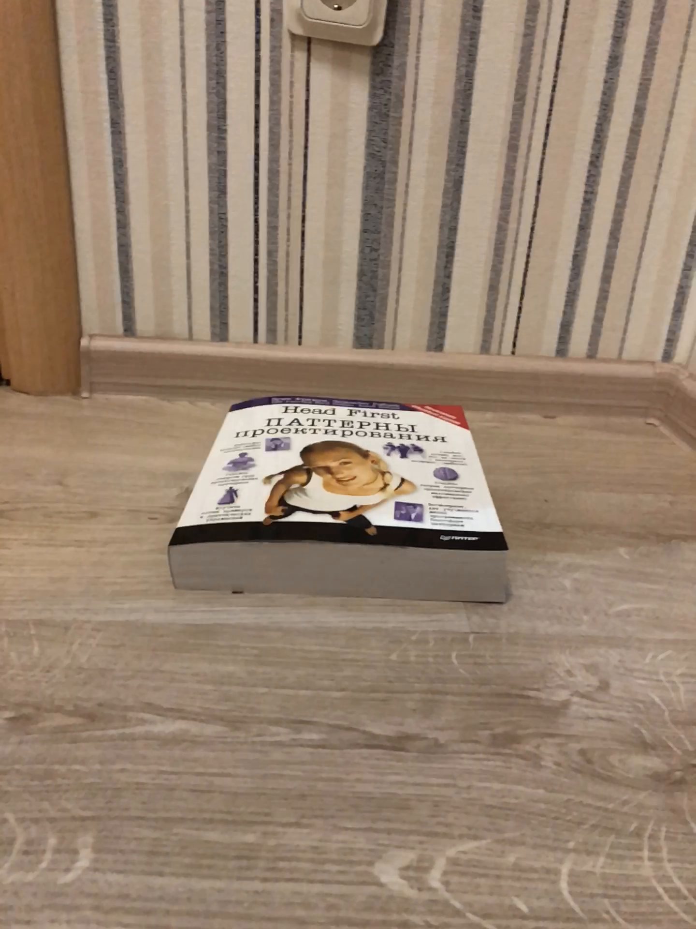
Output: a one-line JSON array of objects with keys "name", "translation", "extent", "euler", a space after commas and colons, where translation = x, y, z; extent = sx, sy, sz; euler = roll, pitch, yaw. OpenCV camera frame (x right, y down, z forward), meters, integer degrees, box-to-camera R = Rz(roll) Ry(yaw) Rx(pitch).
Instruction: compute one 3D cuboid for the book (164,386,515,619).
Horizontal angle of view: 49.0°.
[{"name": "book", "translation": [-0.005, 0.013, 0.565], "extent": [0.206, 0.049, 0.242], "euler": [3, 26, -1]}]
